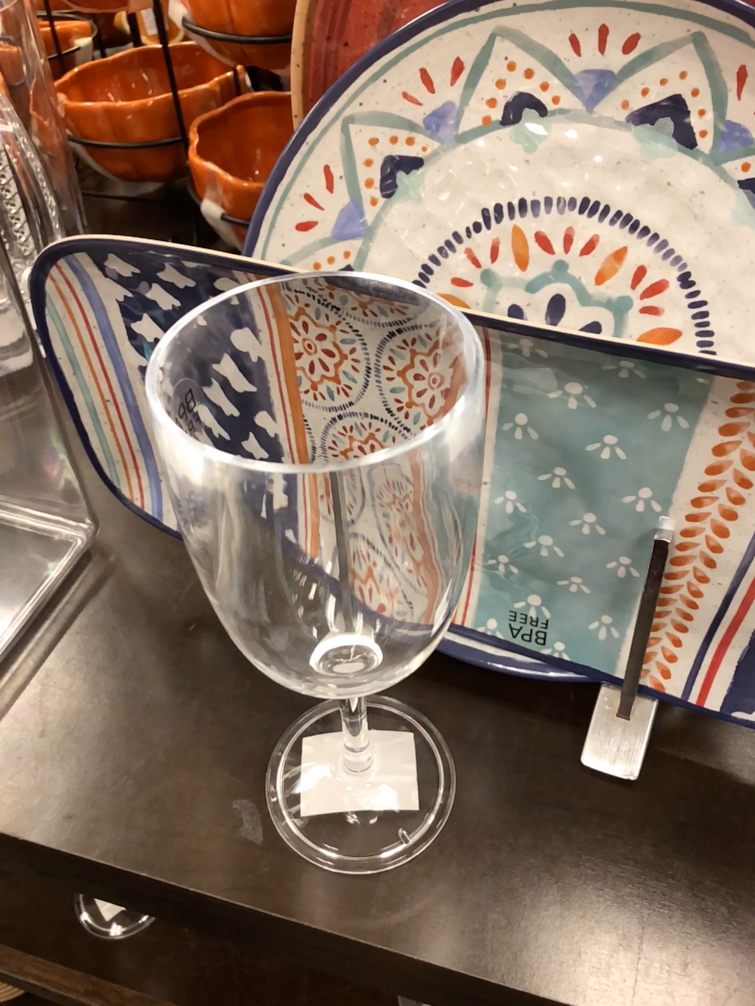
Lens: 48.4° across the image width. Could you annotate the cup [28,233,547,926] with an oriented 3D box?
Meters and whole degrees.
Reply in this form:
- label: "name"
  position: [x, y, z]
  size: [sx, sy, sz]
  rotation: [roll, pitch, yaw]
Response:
- label: "cup"
  position: [-0.011, 0.036, 0.256]
  size: [0.090, 0.200, 0.085]
  rotation: [-1, 44, 1]
